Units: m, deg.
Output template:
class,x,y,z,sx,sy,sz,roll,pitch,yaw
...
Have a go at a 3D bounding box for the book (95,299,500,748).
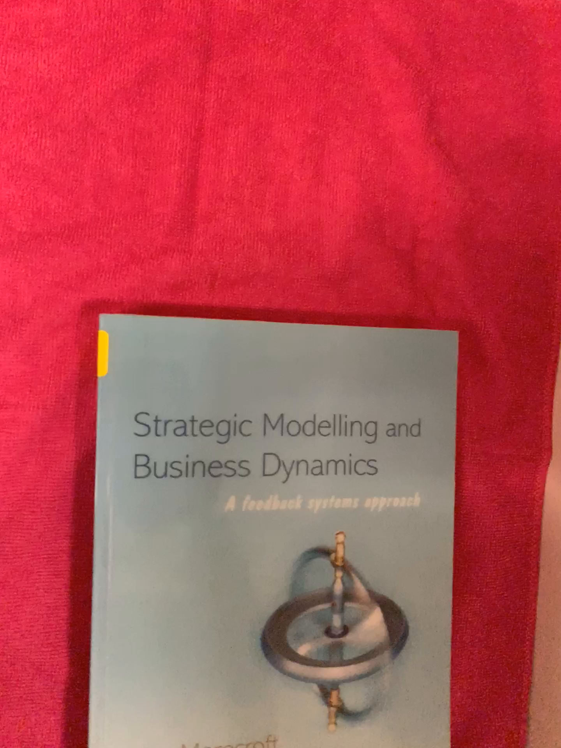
class,x,y,z,sx,sy,sz,roll,pitch,yaw
book,0.013,0.095,0.302,0.193,0.033,0.250,3,90,-12
